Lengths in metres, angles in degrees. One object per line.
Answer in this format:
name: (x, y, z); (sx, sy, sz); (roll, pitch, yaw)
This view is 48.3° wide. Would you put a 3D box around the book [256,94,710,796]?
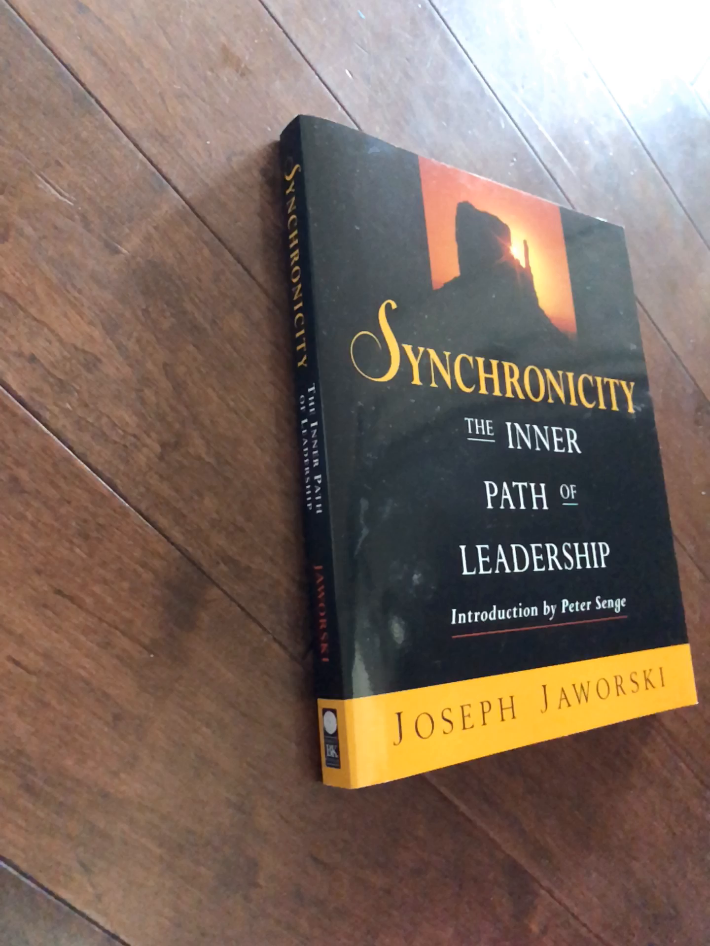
book: (0.061, -0.012, 0.313); (0.191, 0.030, 0.222); (1, 78, -36)
